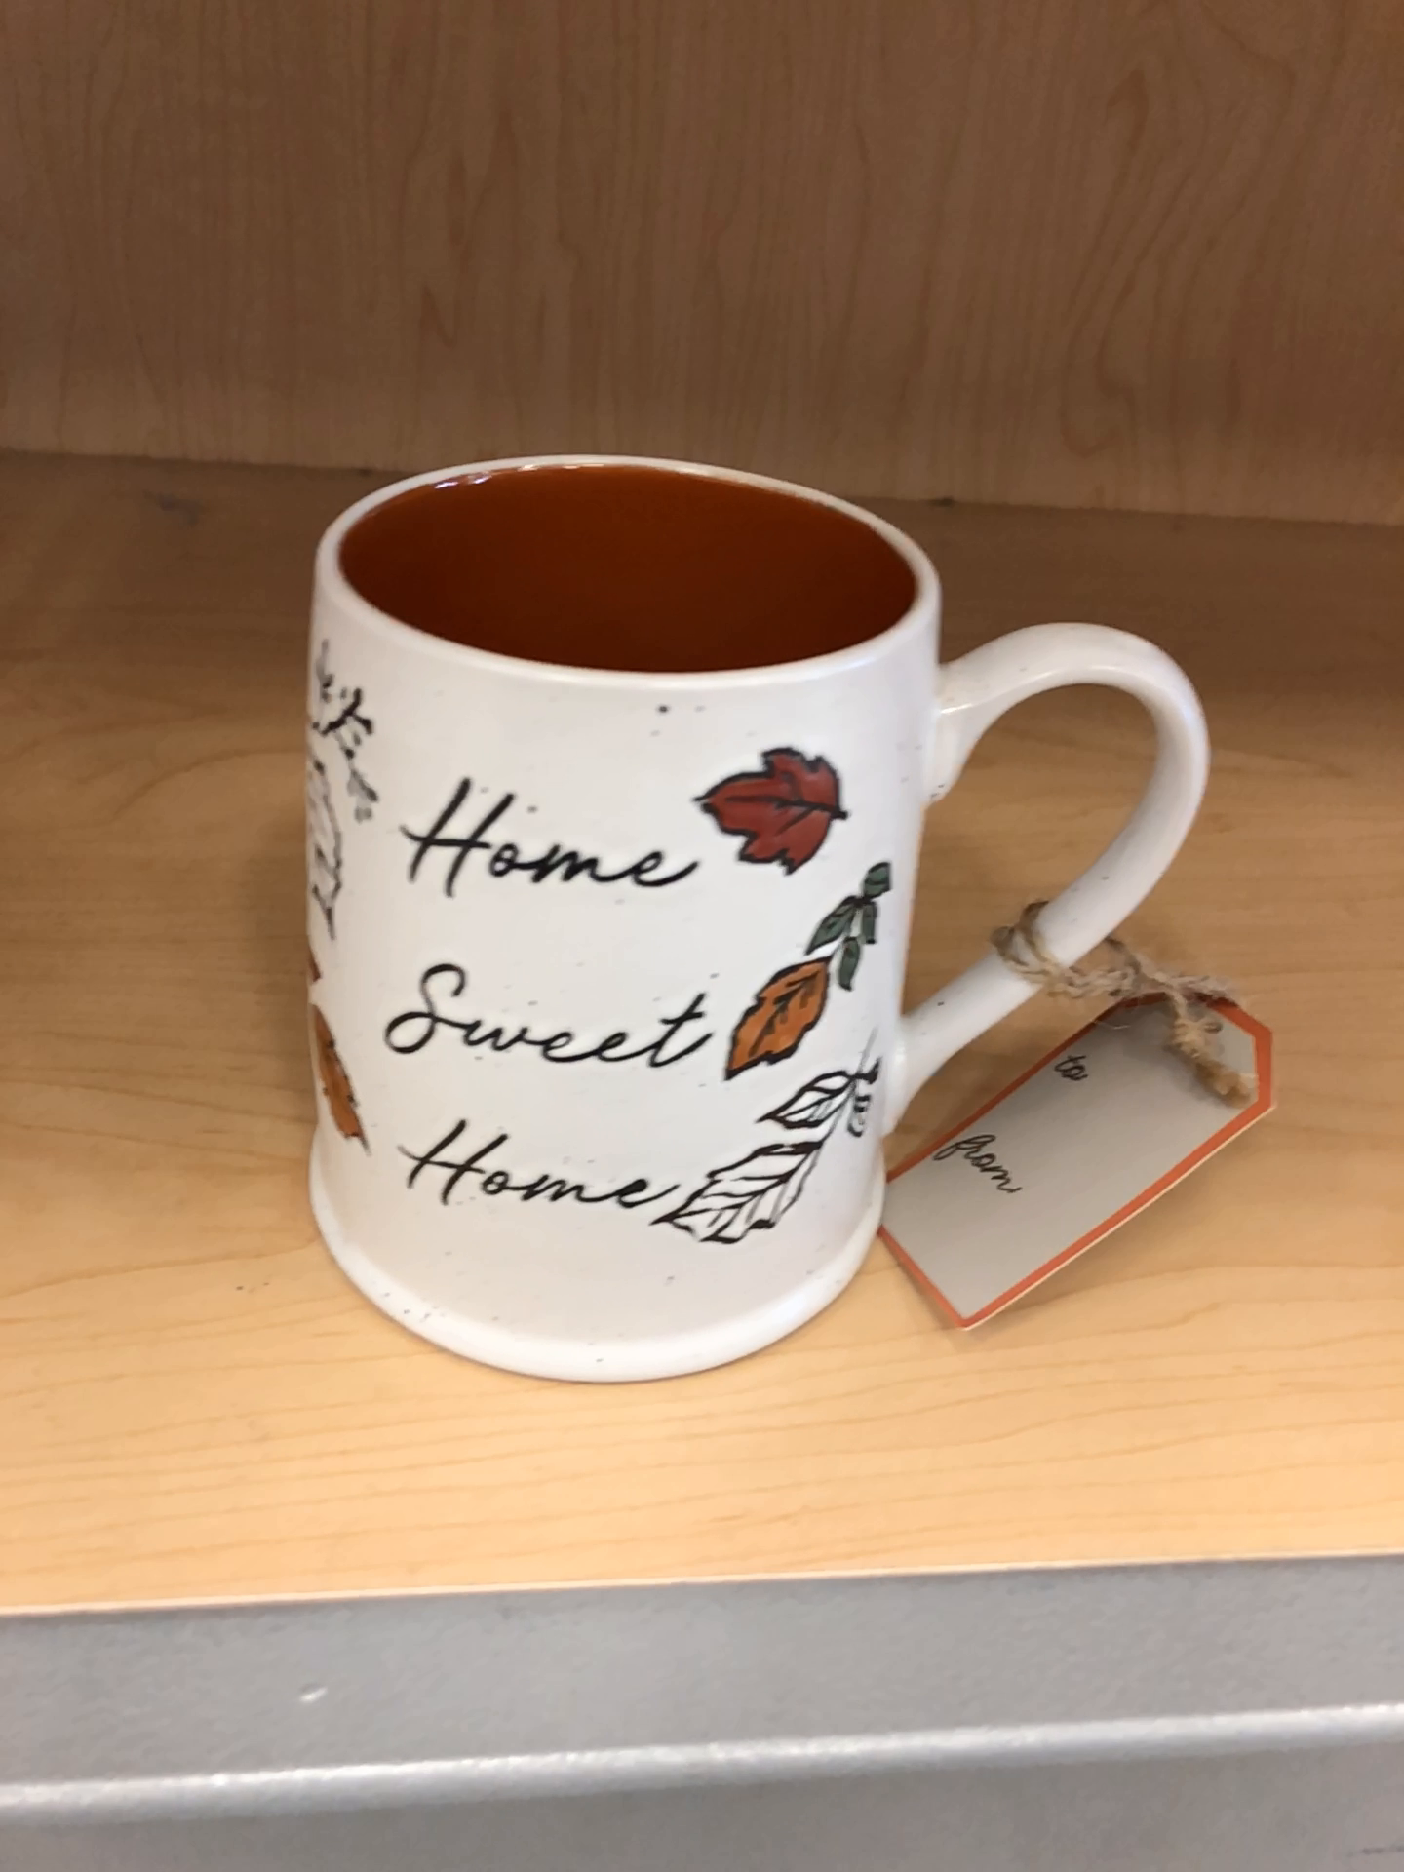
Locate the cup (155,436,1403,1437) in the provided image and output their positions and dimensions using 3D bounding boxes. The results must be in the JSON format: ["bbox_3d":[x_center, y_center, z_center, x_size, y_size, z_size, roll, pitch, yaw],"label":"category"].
[{"bbox_3d":[0.004,-0.002,0.208,0.125,0.099,0.081,0,34,-8],"label":"cup"}]
